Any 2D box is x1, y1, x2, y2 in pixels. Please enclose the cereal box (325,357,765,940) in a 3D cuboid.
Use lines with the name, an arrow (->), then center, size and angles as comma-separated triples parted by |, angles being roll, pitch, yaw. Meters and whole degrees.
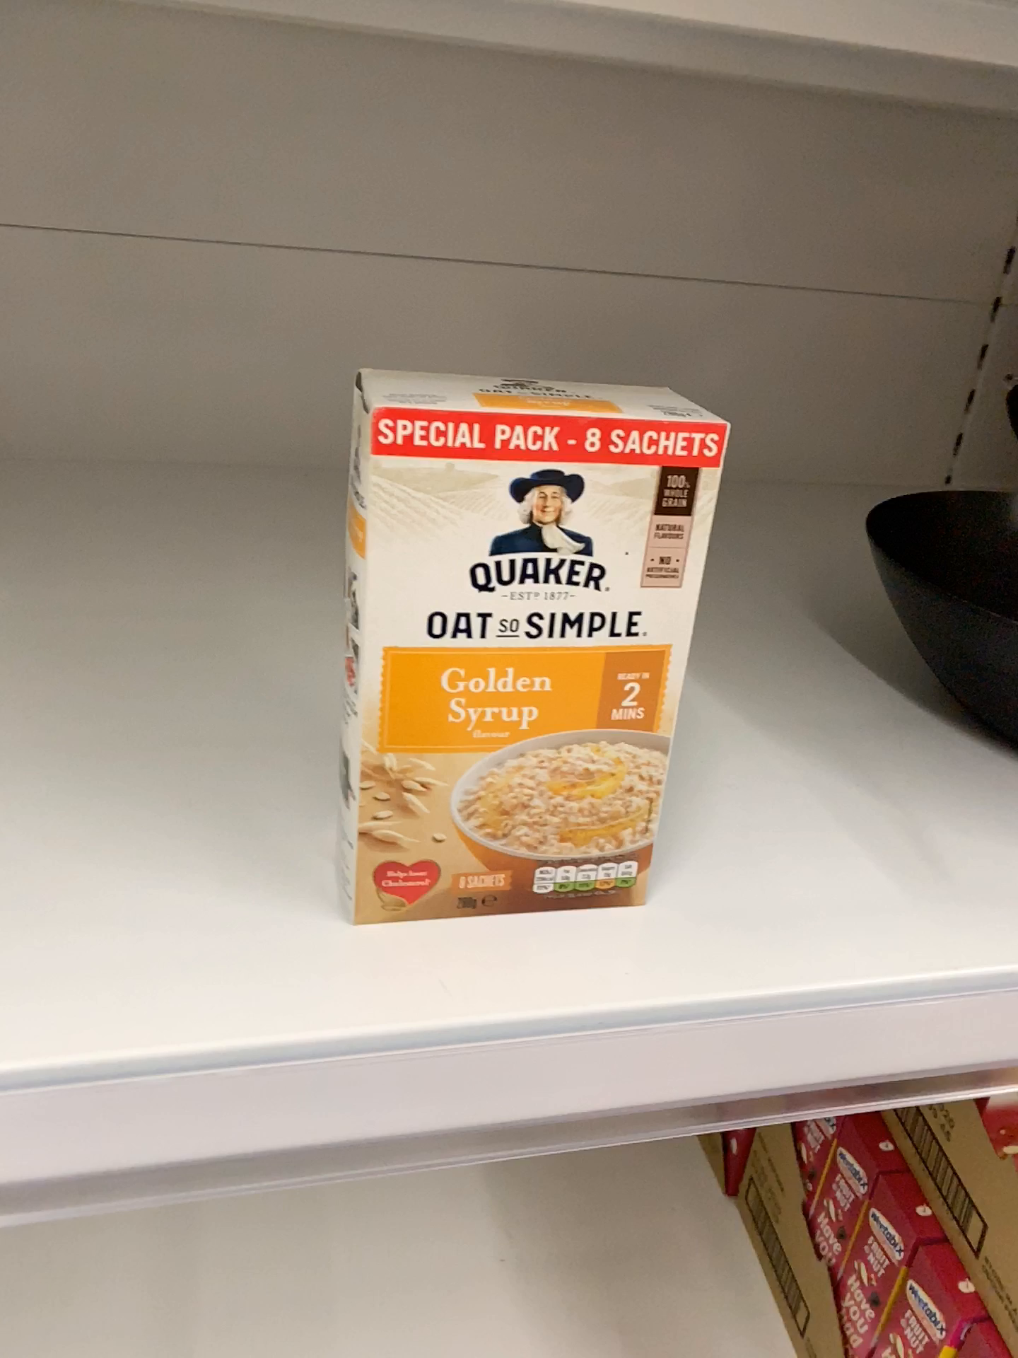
cereal box -> 0.003, -0.010, 0.414 | 0.140, 0.208, 0.071 | -1, 24, -15
